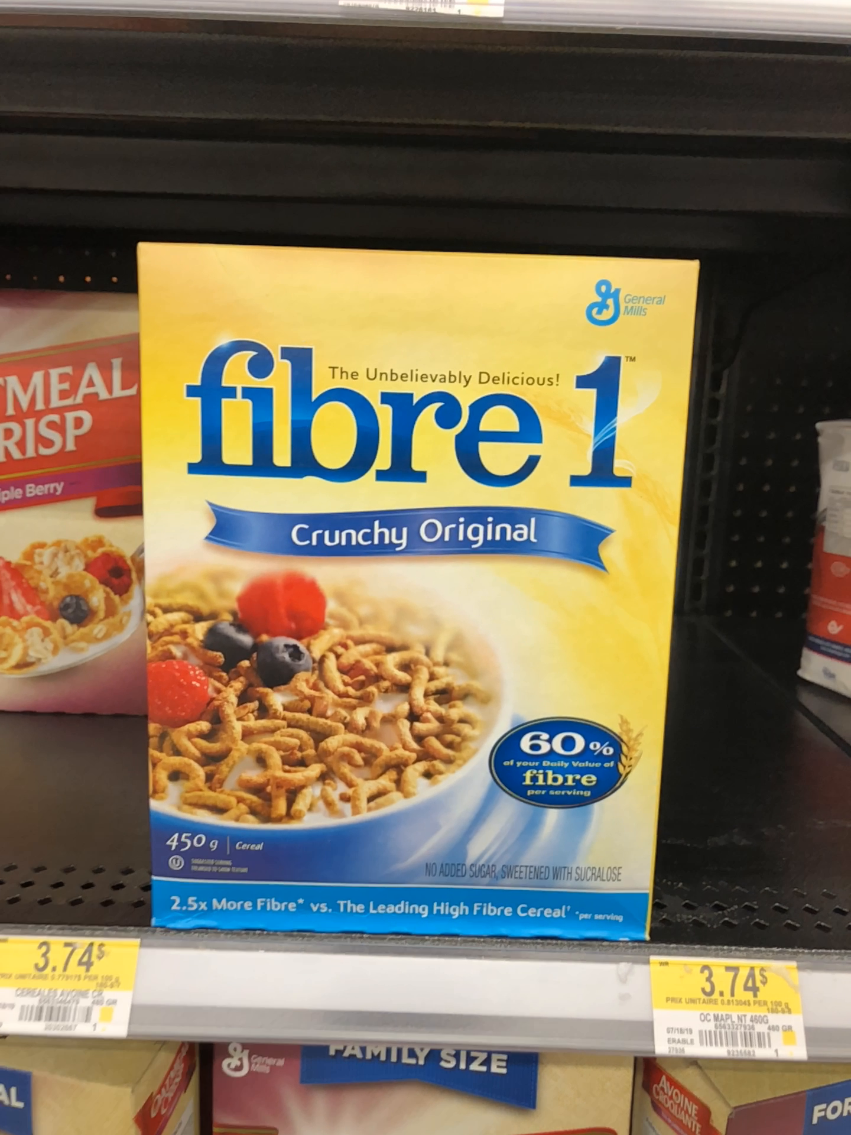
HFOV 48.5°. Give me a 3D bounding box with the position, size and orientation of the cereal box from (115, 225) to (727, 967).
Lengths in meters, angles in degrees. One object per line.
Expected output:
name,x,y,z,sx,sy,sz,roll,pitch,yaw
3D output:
cereal box,-0.006,0.013,0.361,0.200,0.259,0.060,2,10,1
